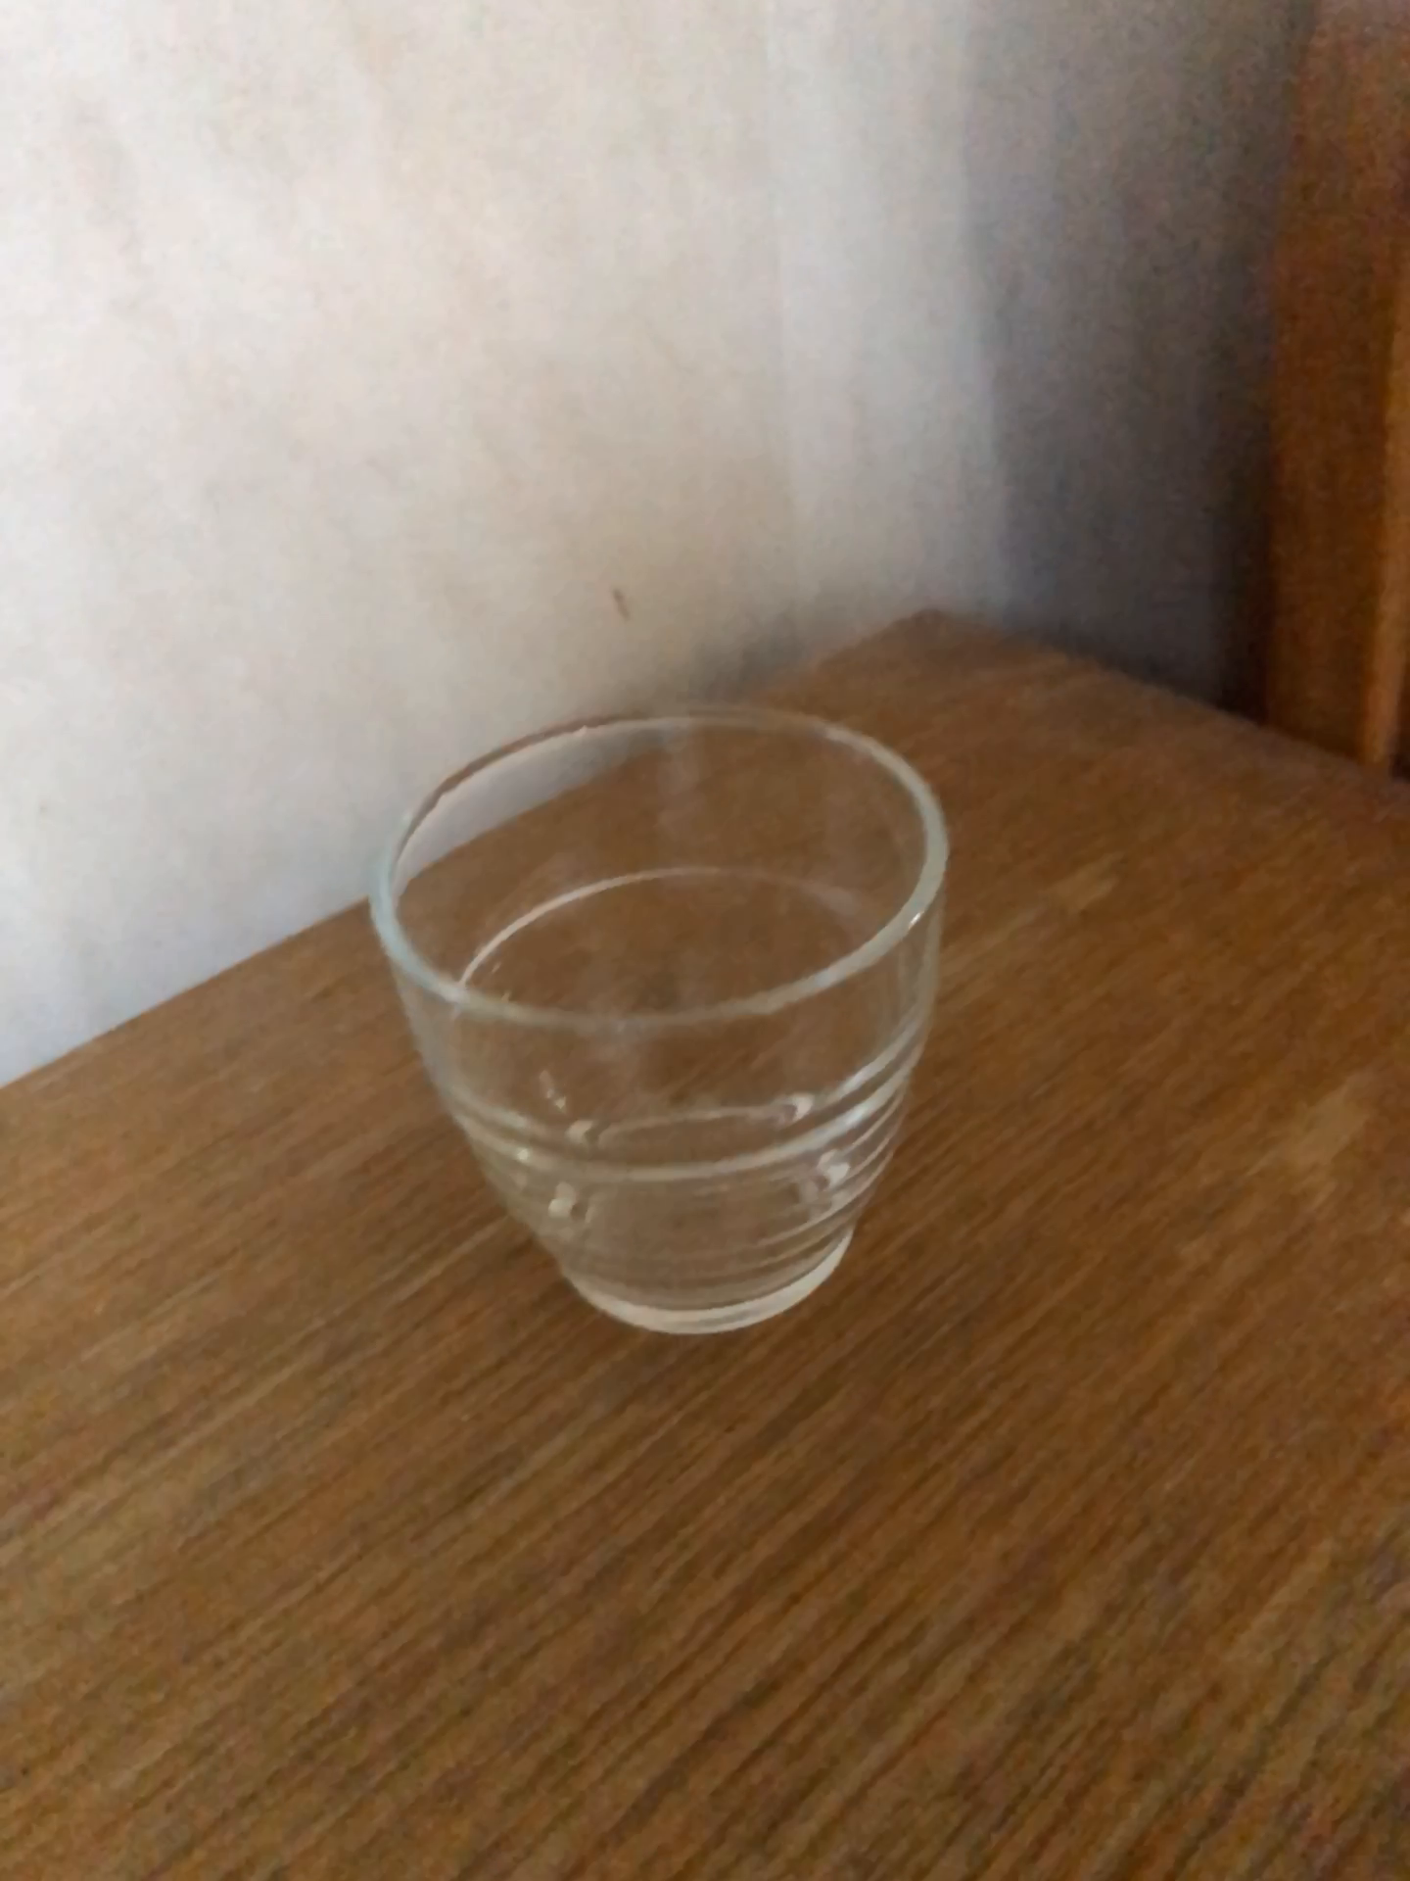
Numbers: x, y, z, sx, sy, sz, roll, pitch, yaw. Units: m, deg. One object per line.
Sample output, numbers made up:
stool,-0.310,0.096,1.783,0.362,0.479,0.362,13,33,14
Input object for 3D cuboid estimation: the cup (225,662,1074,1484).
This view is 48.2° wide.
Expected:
cup,-0.001,0.011,0.216,0.080,0.060,0.081,-4,35,3
